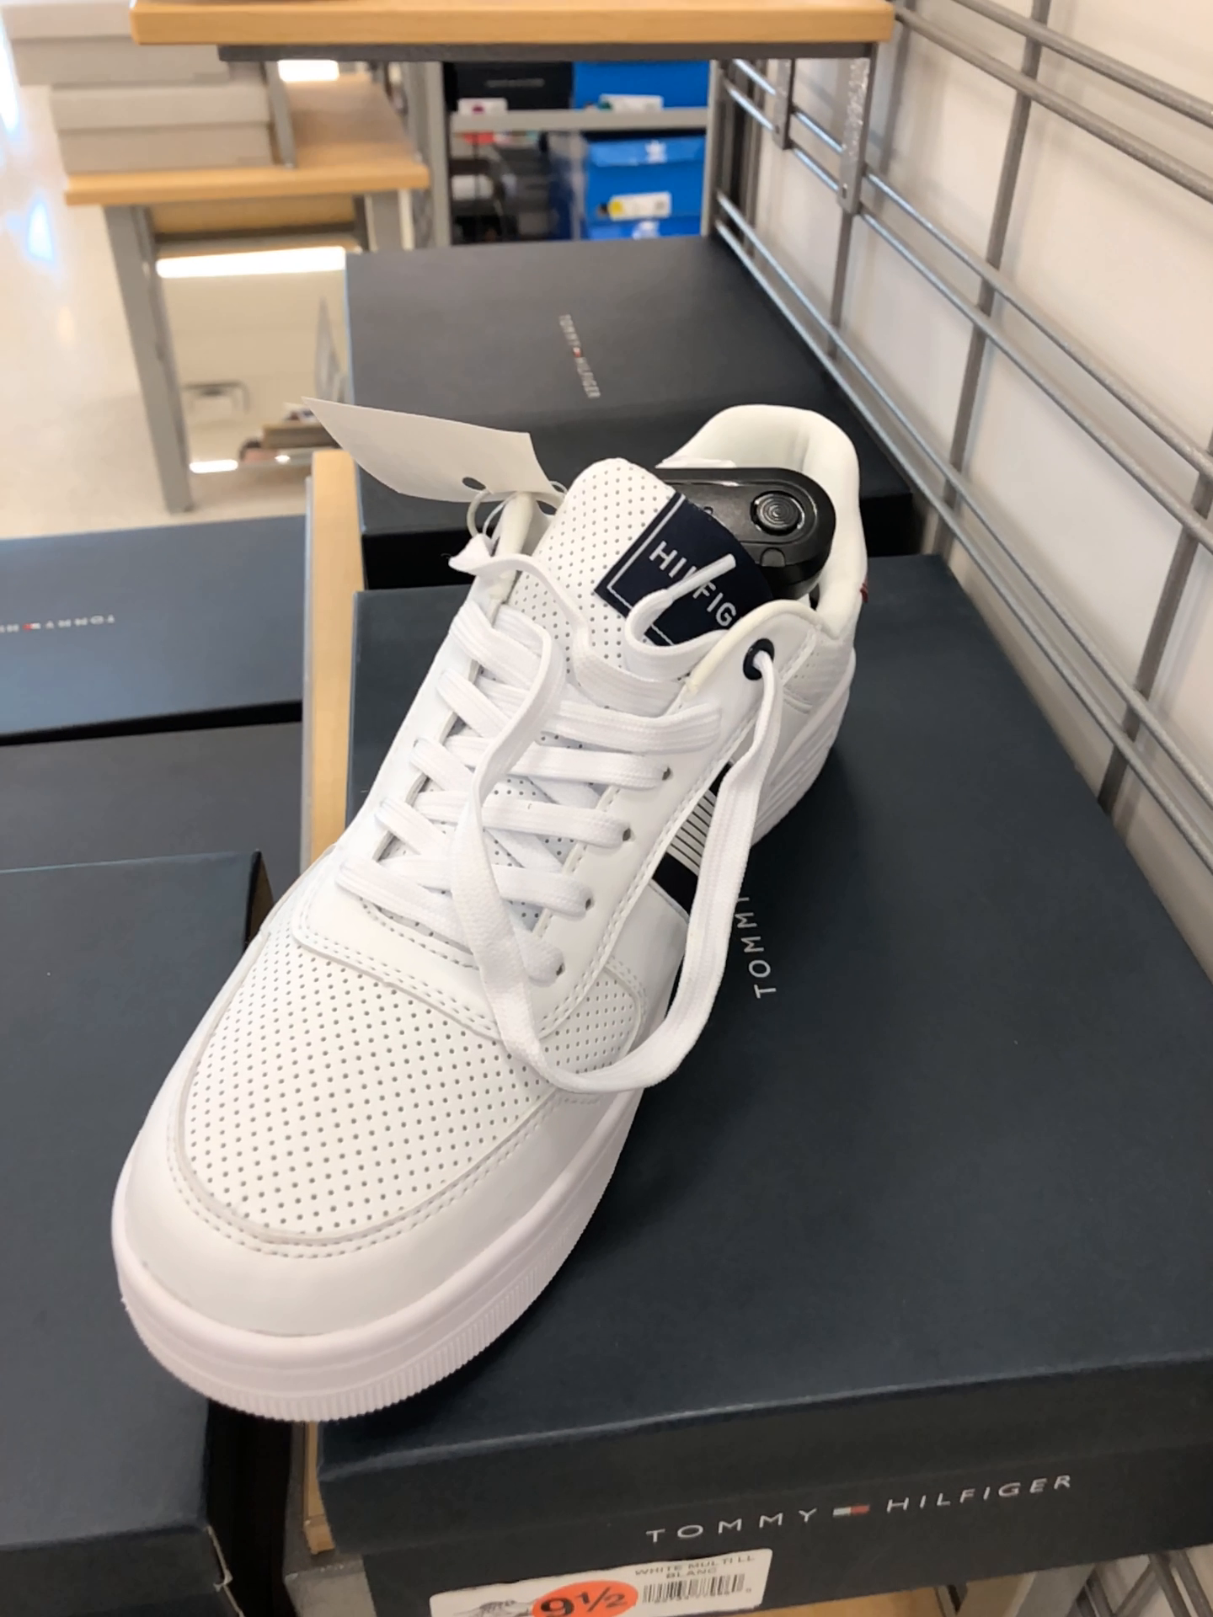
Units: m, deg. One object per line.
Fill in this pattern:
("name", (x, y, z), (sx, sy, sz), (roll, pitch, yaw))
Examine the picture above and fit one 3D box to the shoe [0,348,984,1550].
("shoe", (-0.012, -0.002, 0.327), (0.110, 0.109, 0.282), (20, 43, 21))
